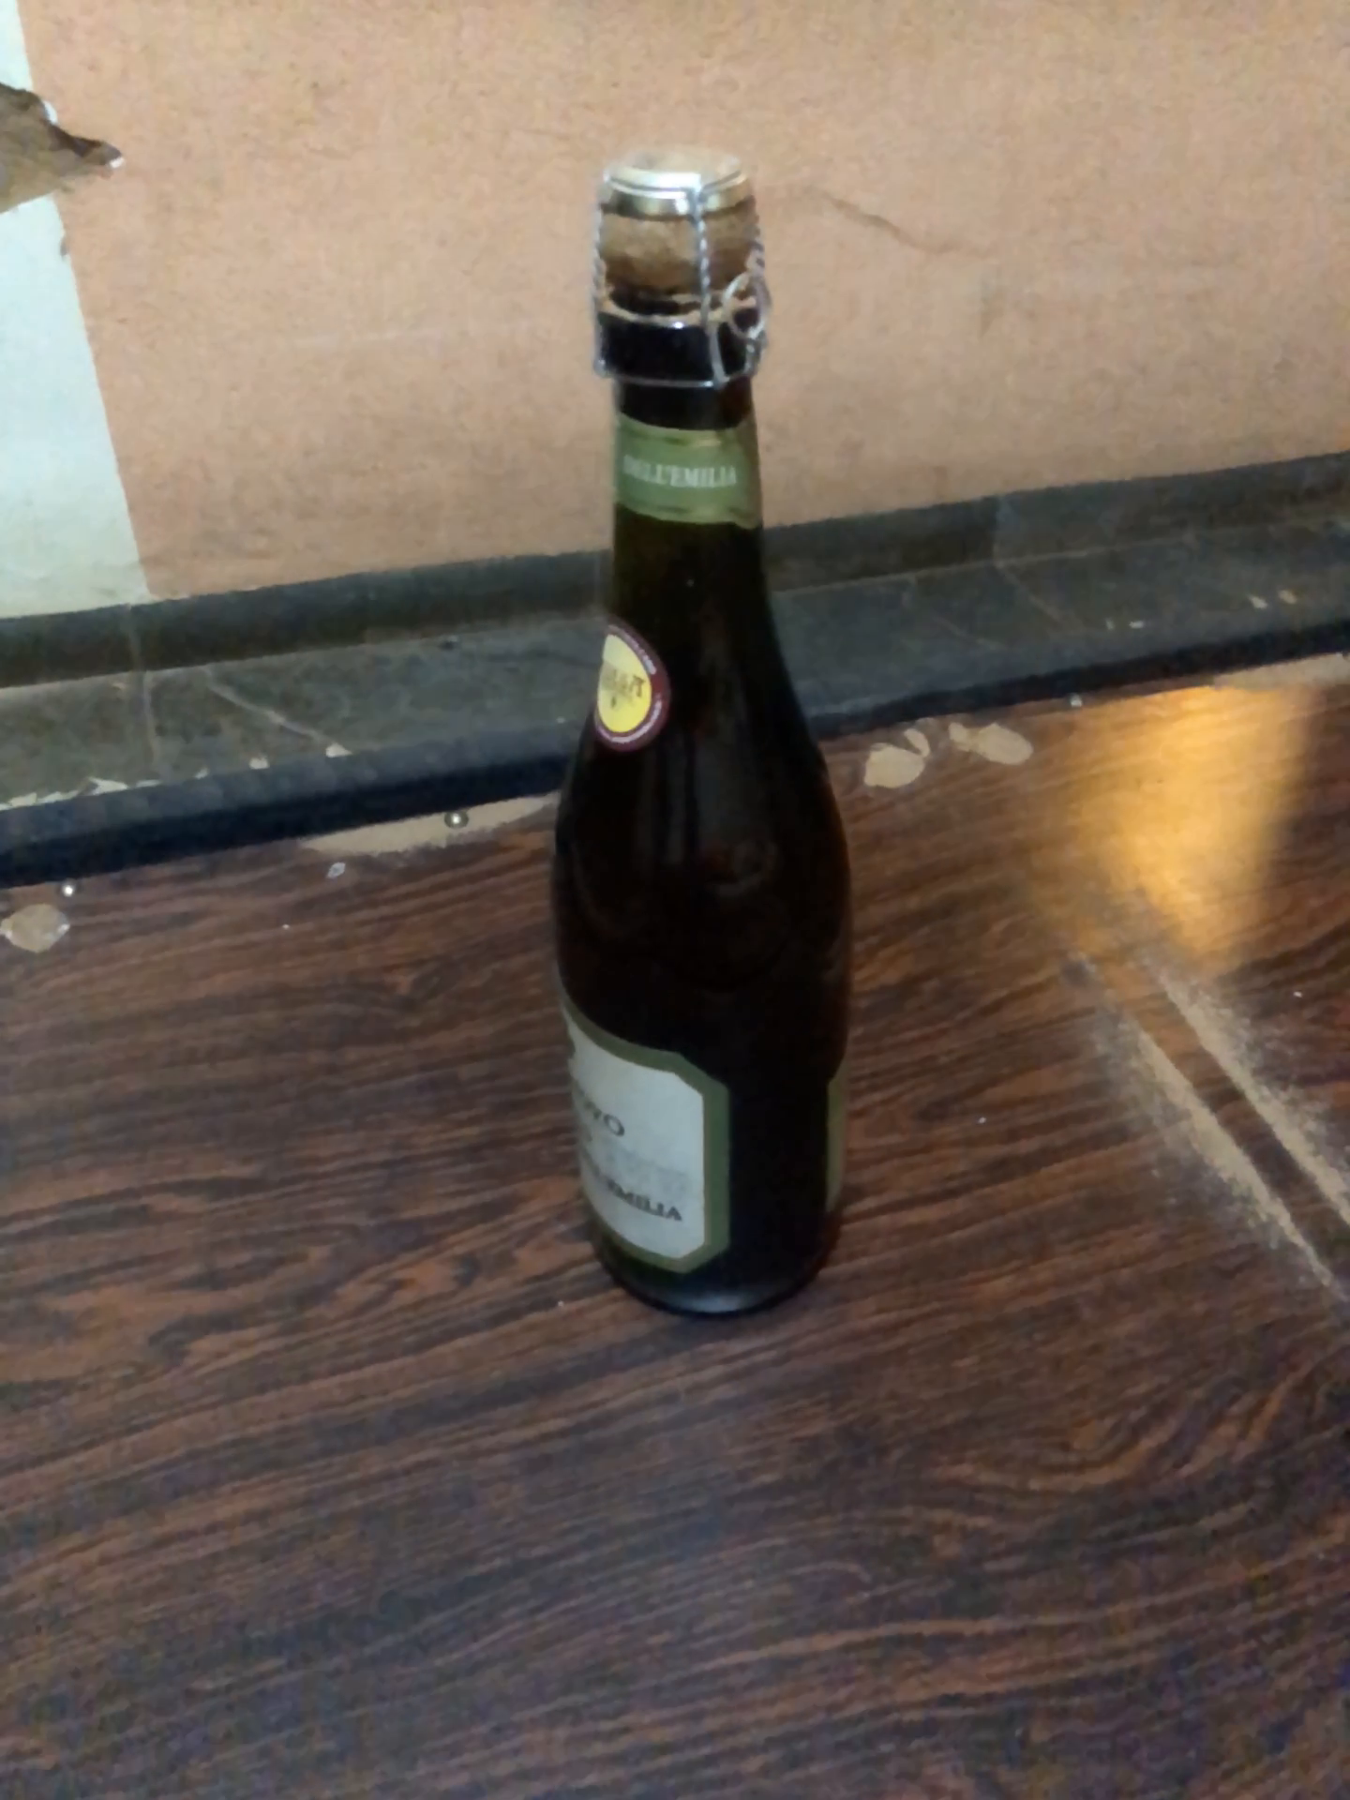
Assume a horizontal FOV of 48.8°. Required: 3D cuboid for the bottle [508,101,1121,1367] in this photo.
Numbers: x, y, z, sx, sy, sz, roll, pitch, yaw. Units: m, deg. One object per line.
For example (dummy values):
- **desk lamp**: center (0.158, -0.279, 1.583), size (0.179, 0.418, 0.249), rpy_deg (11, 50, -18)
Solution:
- **bottle**: center (0.015, -0.017, 0.361), size (0.090, 0.298, 0.091), rpy_deg (1, 40, -1)
